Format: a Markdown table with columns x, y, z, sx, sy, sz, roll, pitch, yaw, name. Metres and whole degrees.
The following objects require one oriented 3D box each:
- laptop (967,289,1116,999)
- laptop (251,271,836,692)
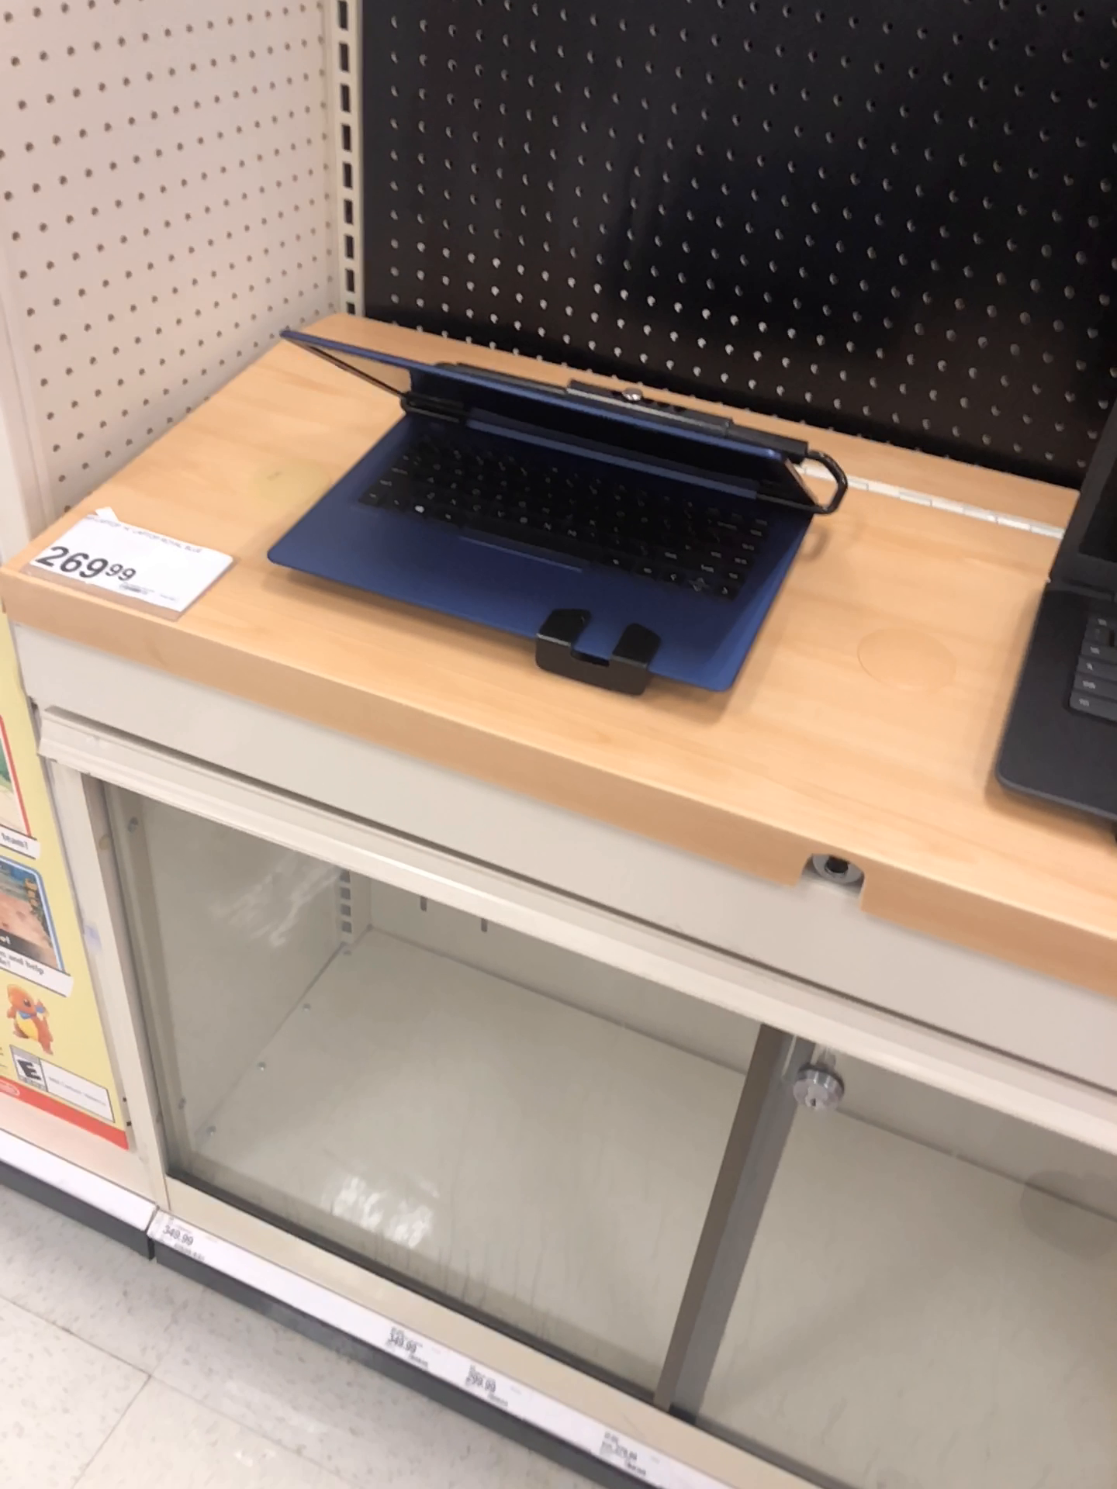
| x | y | z | sx | sy | sz | roll | pitch | yaw | name |
| --- | --- | --- | --- | --- | --- | --- | --- | --- | --- |
| 0.448 | -0.071 | 0.659 | 0.331 | 0.206 | 0.224 | 20 | 42 | 18 | laptop |
| -0.009 | -0.188 | 0.812 | 0.320 | 0.110 | 0.201 | 18 | 45 | 16 | laptop |
